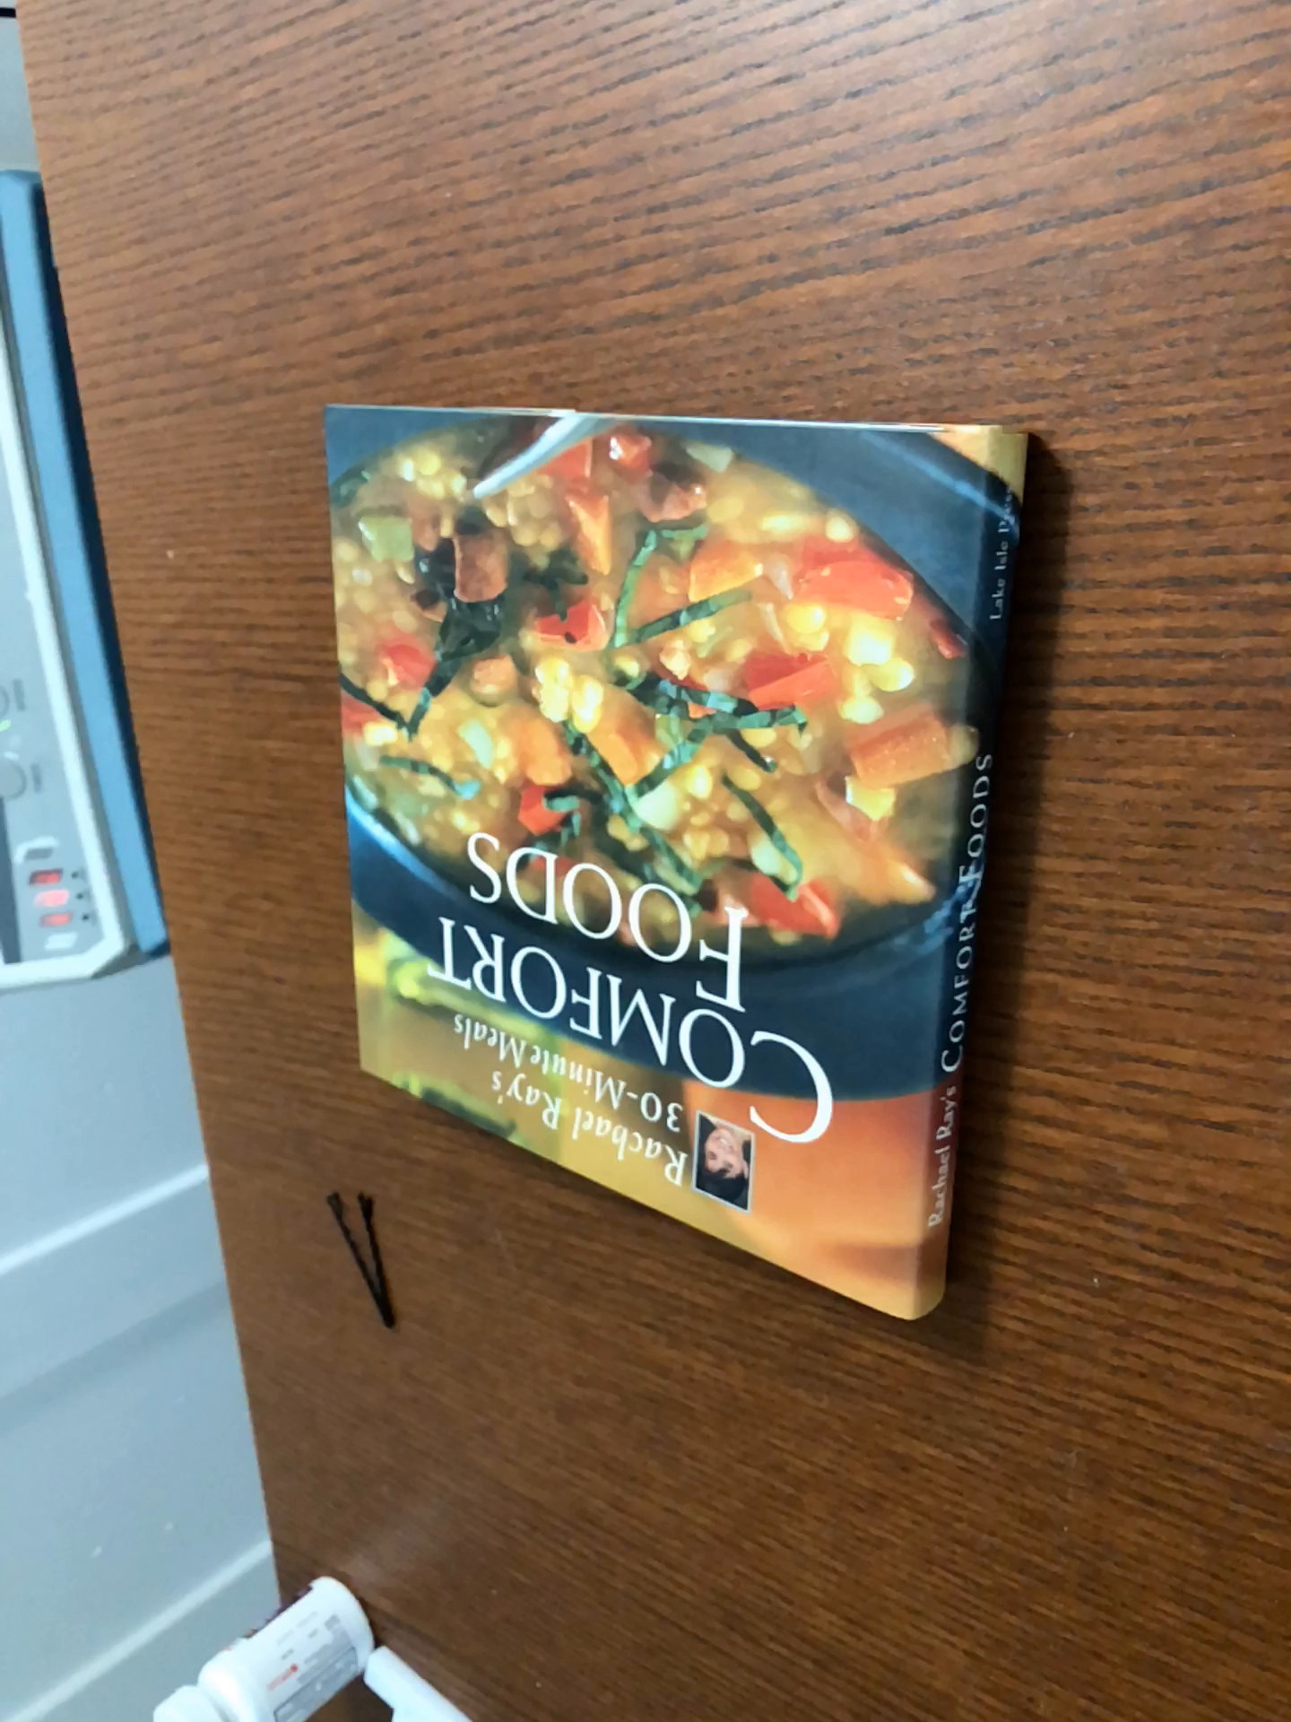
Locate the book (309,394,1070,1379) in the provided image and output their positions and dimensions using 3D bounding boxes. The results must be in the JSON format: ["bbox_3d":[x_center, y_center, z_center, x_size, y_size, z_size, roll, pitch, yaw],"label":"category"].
[{"bbox_3d":[-0.004,-0.007,0.363,0.201,0.030,0.210,15,113,38],"label":"book"}]
